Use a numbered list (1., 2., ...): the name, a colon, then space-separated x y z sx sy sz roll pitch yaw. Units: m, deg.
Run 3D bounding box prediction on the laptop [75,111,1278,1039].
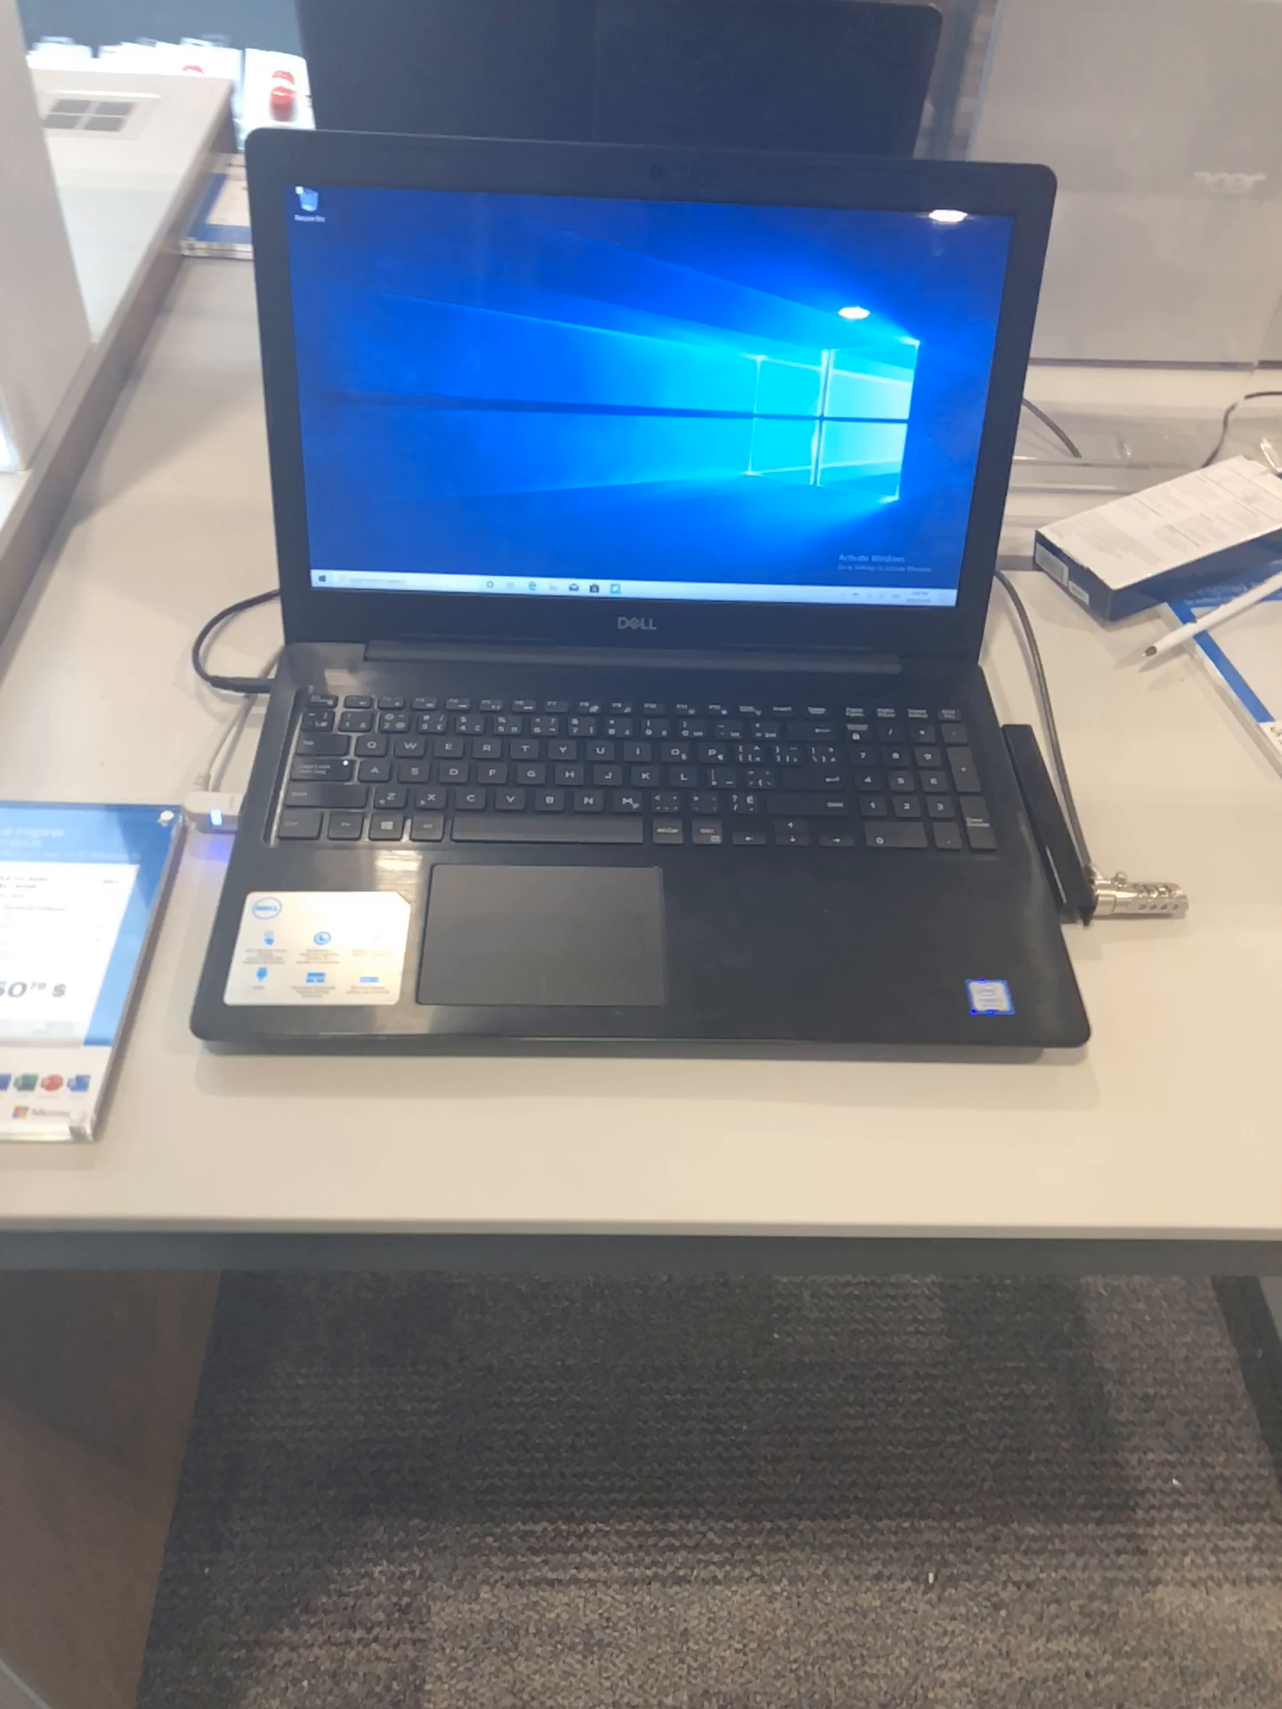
1. laptop: 0.004 -0.130 0.615 0.363 0.224 0.337 1 48 -2
